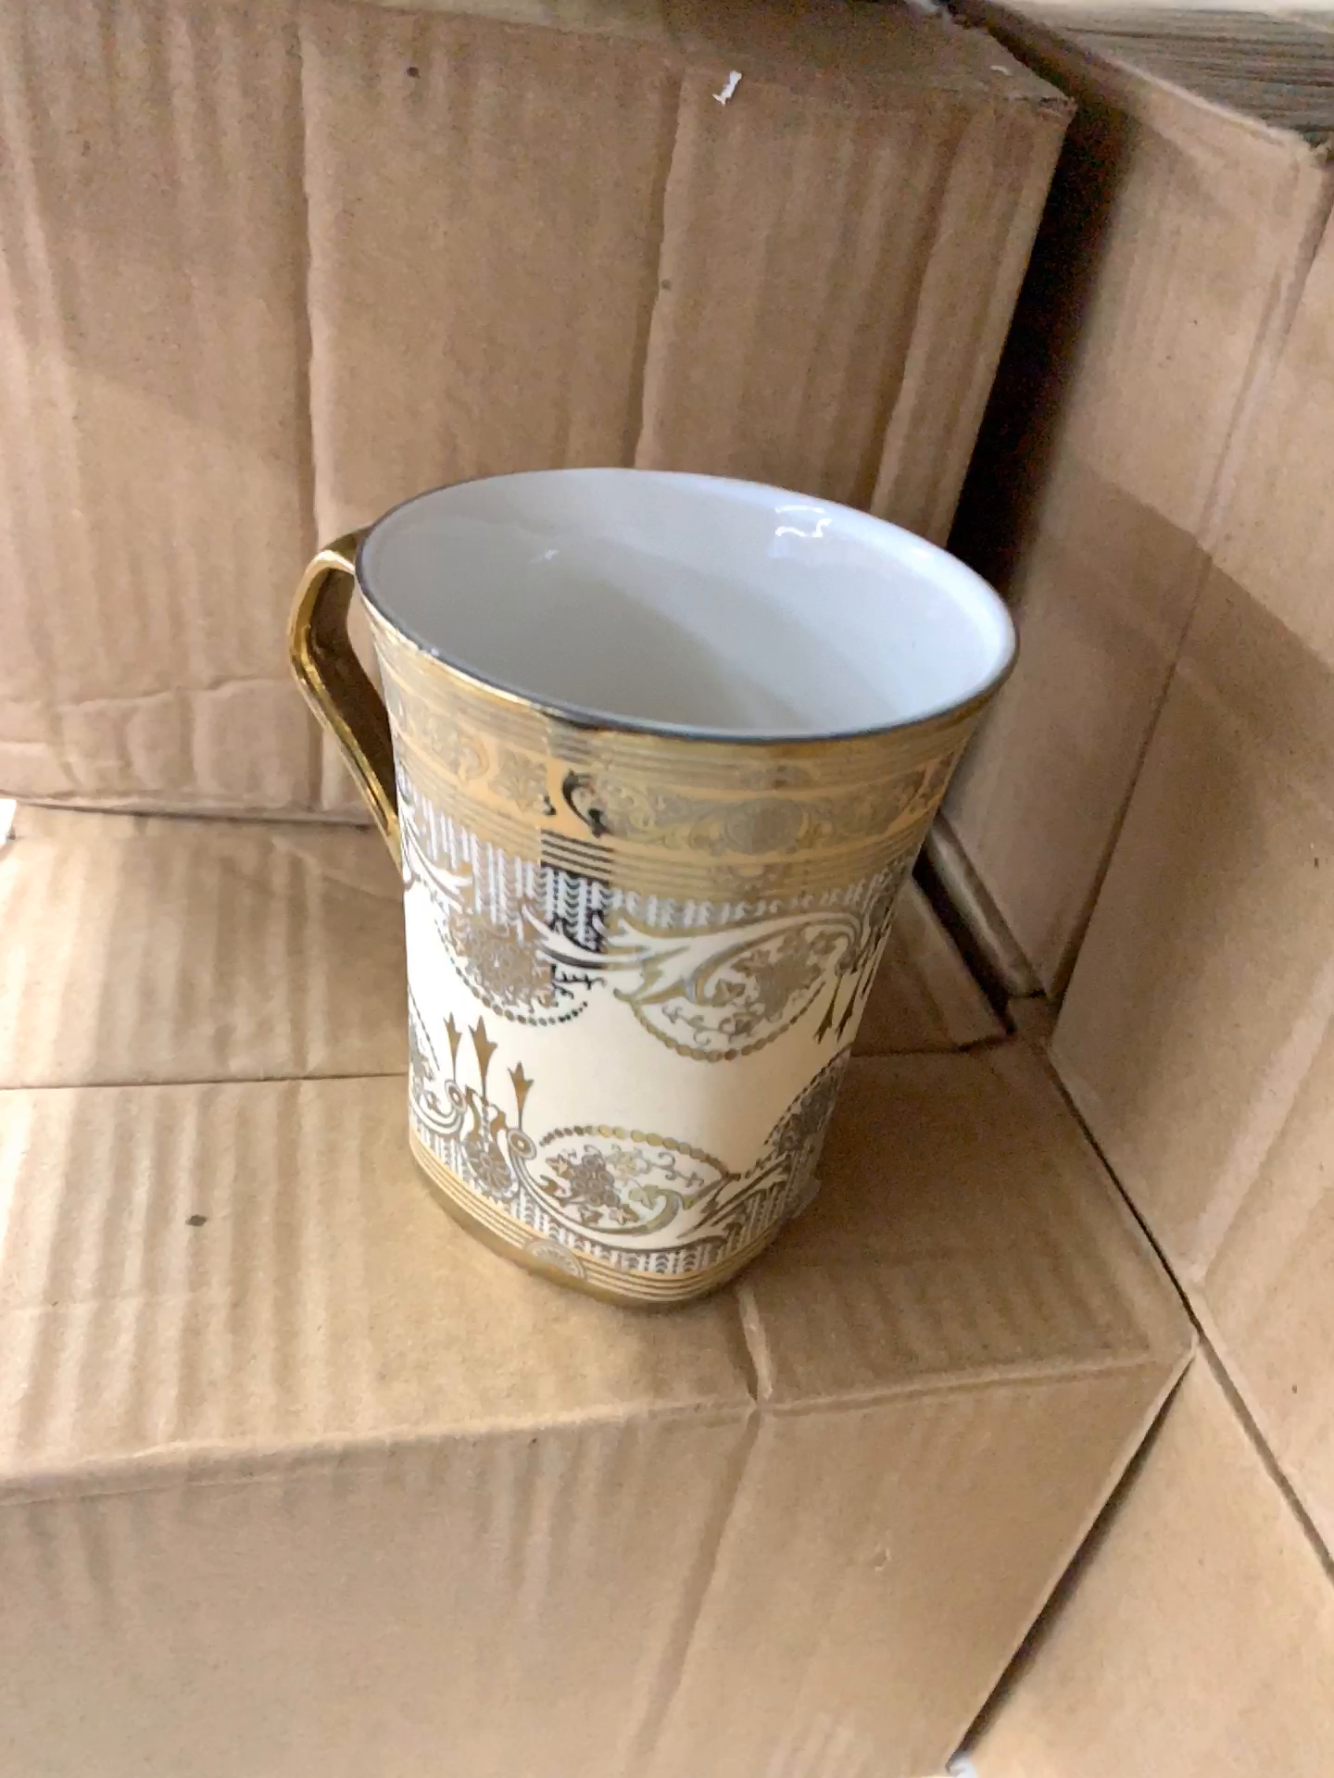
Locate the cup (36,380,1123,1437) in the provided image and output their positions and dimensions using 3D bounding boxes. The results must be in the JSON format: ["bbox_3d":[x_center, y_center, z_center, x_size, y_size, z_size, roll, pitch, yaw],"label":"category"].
[{"bbox_3d":[-0.013,-0.007,0.202,0.110,0.089,0.080,25,40,24],"label":"cup"}]
